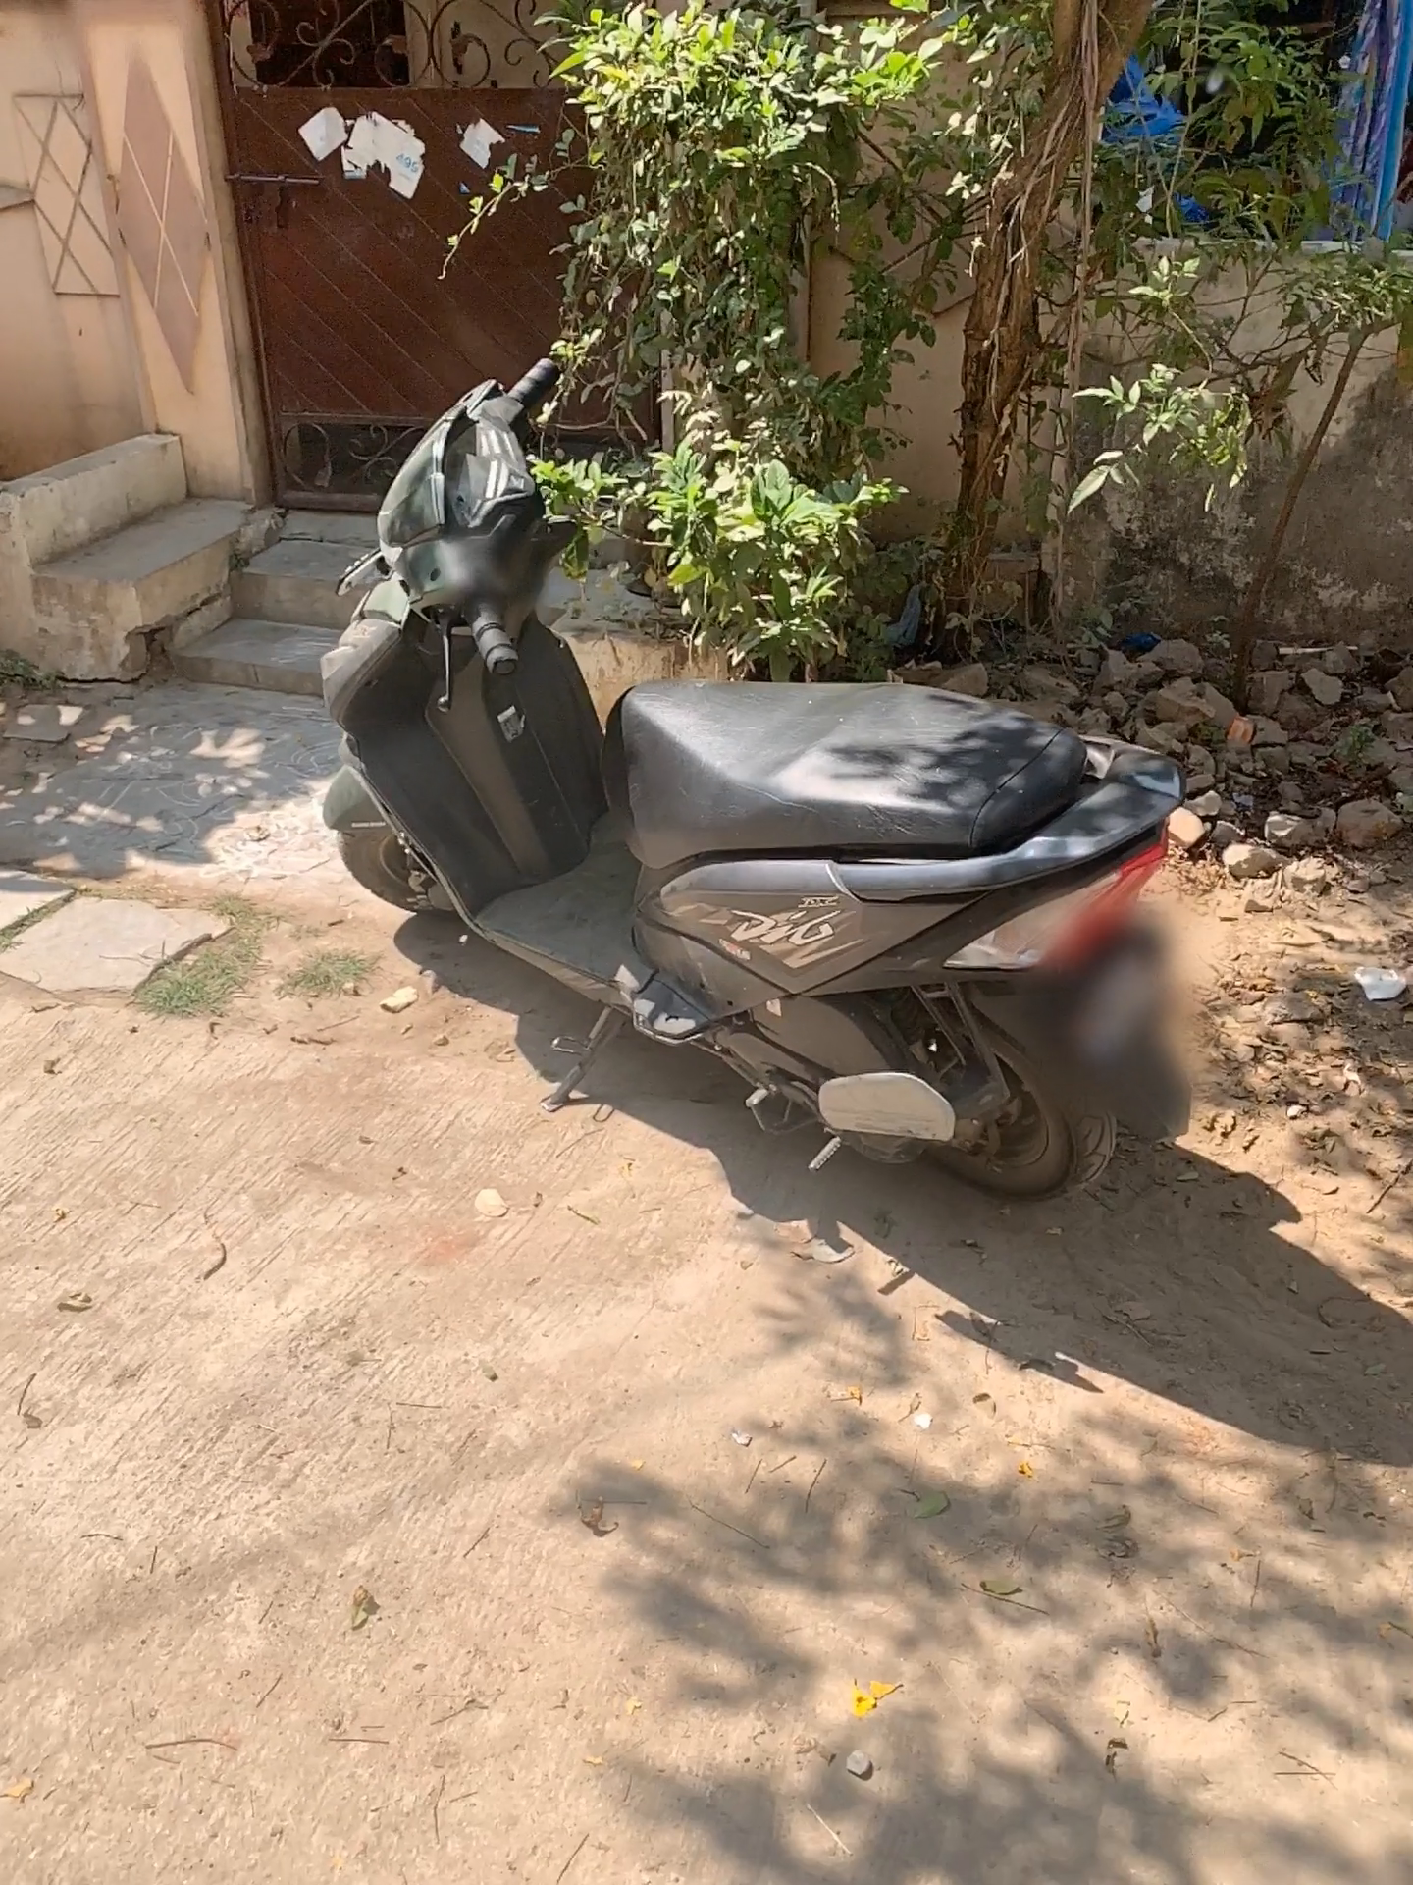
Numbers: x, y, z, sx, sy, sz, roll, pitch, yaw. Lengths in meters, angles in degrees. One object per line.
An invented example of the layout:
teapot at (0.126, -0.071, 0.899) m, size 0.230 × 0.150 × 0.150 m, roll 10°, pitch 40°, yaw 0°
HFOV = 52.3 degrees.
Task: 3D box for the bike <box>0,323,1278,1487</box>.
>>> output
bike at (-0.185, -0.162, 2.103) m, size 1.530 × 1.175 × 0.626 m, roll 20°, pitch 35°, yaw 28°
